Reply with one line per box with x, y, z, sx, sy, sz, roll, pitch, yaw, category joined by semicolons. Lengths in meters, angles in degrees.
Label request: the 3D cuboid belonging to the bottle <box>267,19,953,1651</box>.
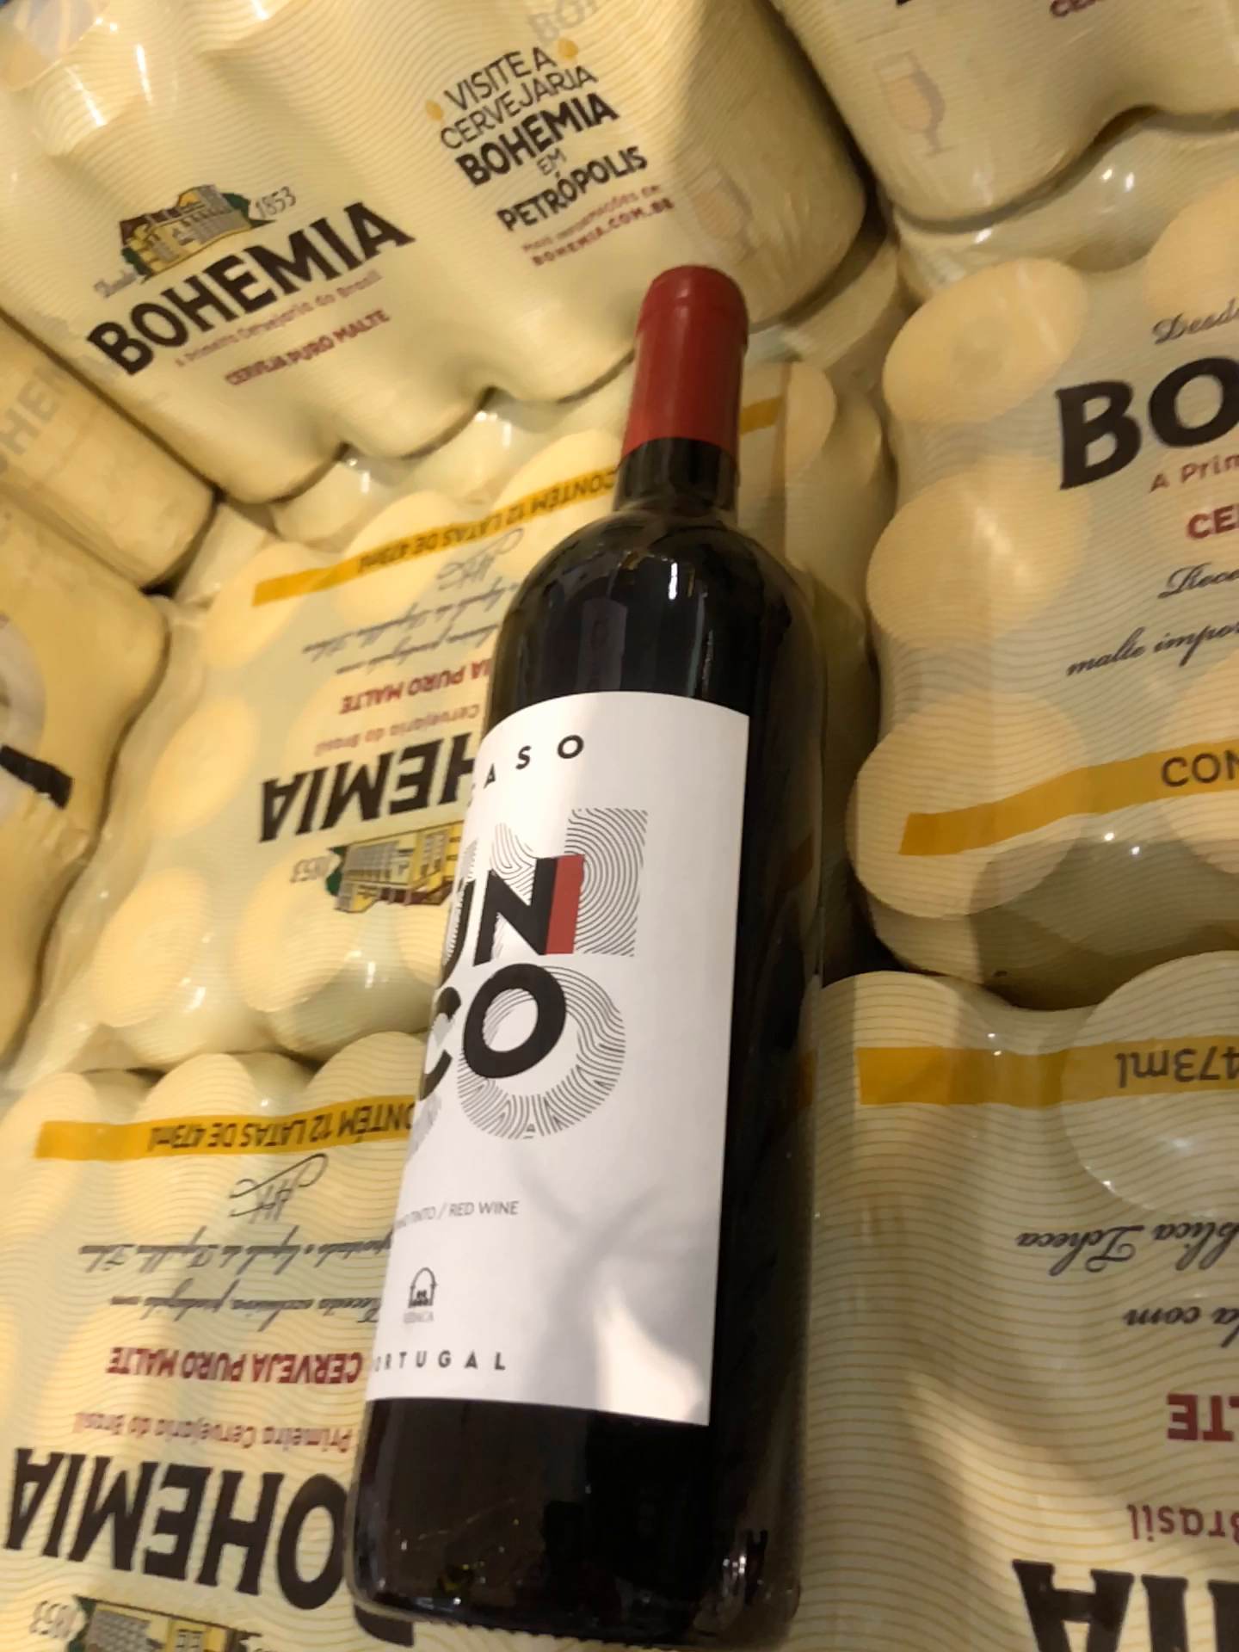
0.013;-0.018;0.288;0.080;0.070;0.331;-13;57;32;bottle
